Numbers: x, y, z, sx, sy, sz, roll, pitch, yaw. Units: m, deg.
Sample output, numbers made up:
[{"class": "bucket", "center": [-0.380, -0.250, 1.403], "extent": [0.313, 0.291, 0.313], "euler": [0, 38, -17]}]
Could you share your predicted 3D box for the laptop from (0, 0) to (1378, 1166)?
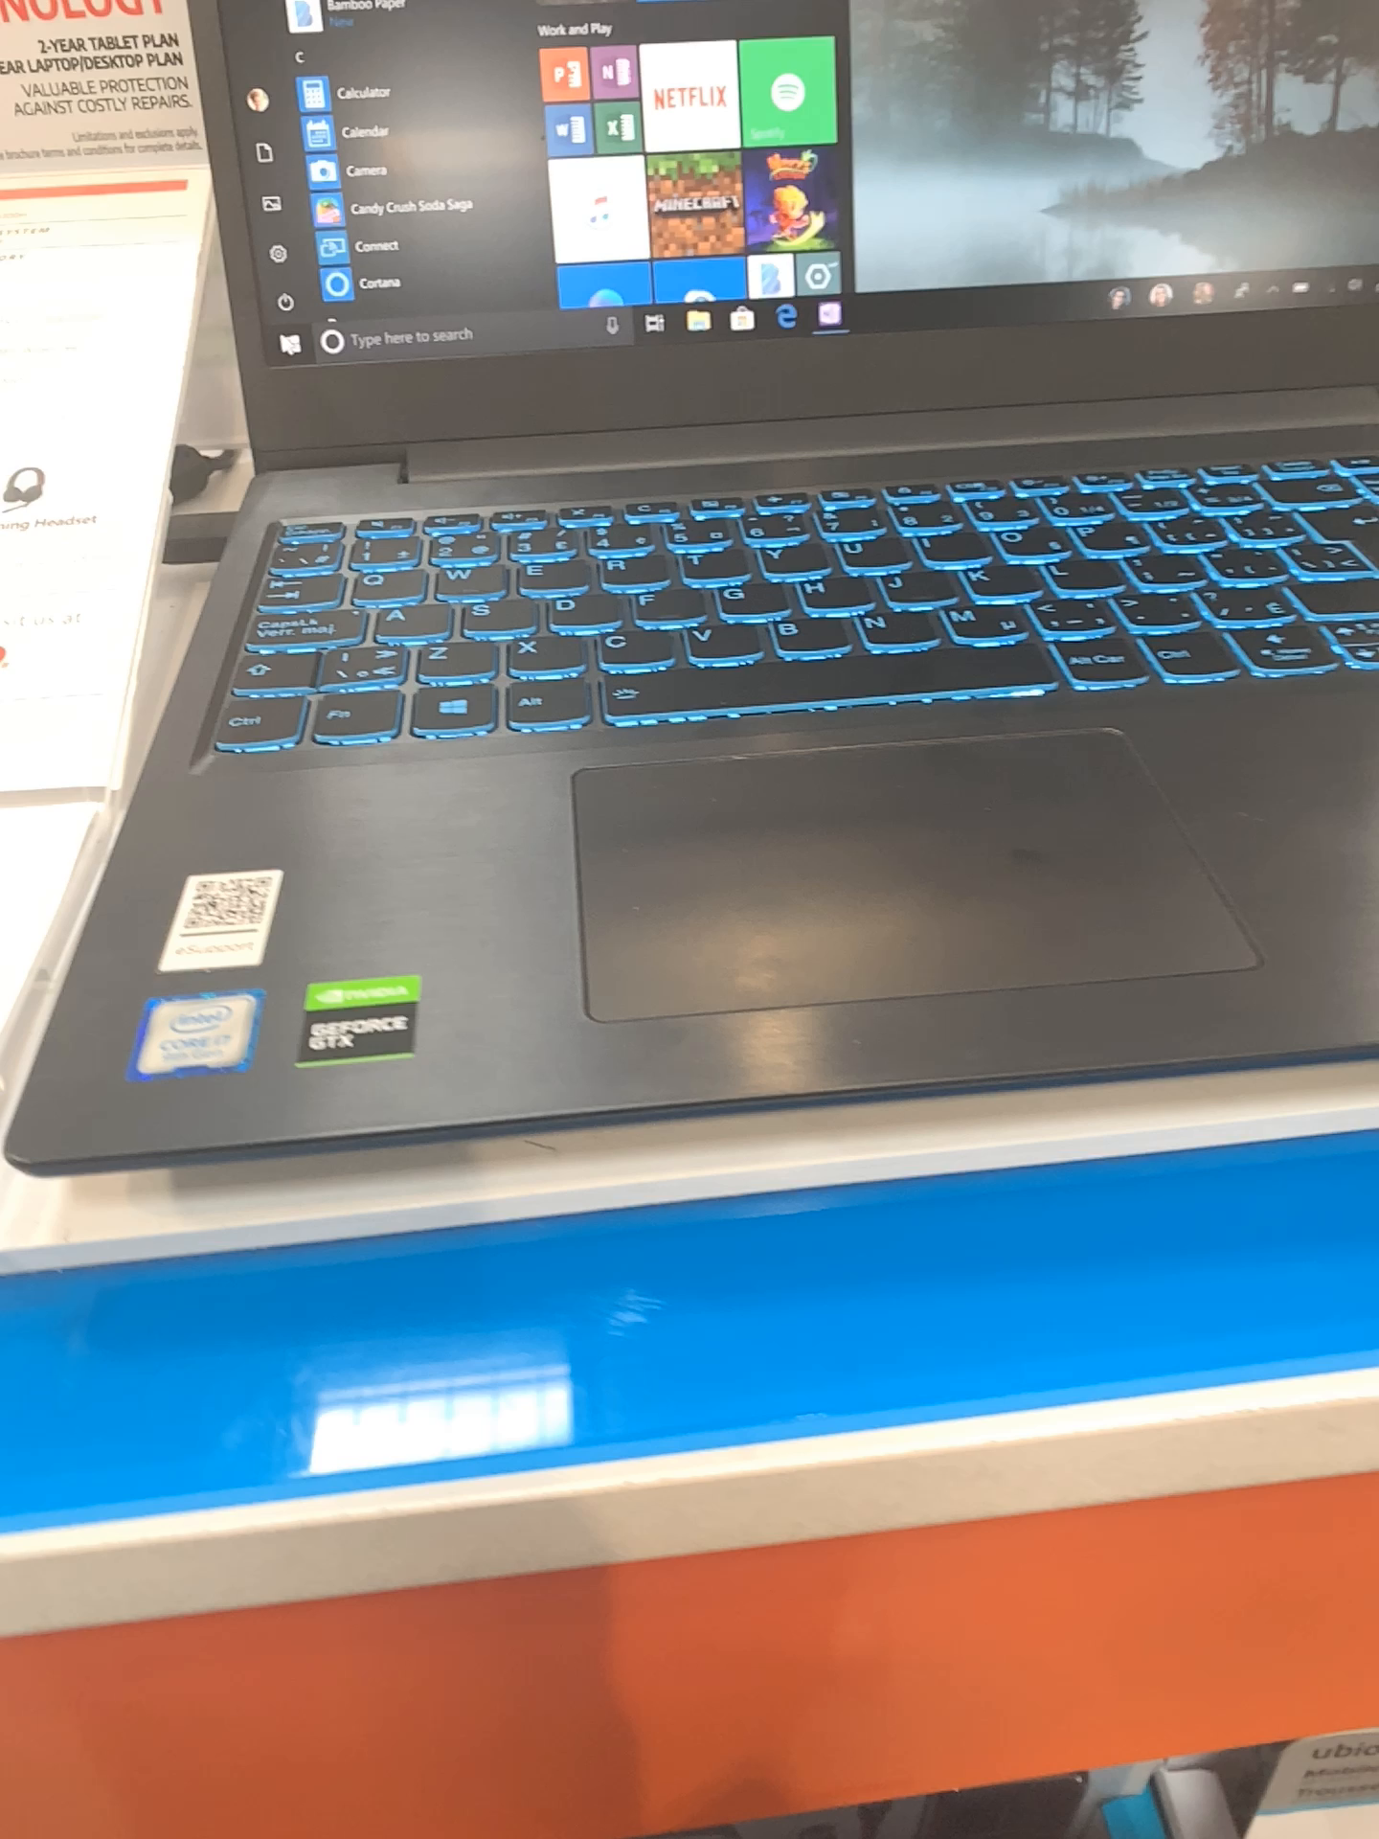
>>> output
[{"class": "laptop", "center": [0.058, -0.169, 0.271], "extent": [0.340, 0.214, 0.330], "euler": [-4, 39, -5]}]
